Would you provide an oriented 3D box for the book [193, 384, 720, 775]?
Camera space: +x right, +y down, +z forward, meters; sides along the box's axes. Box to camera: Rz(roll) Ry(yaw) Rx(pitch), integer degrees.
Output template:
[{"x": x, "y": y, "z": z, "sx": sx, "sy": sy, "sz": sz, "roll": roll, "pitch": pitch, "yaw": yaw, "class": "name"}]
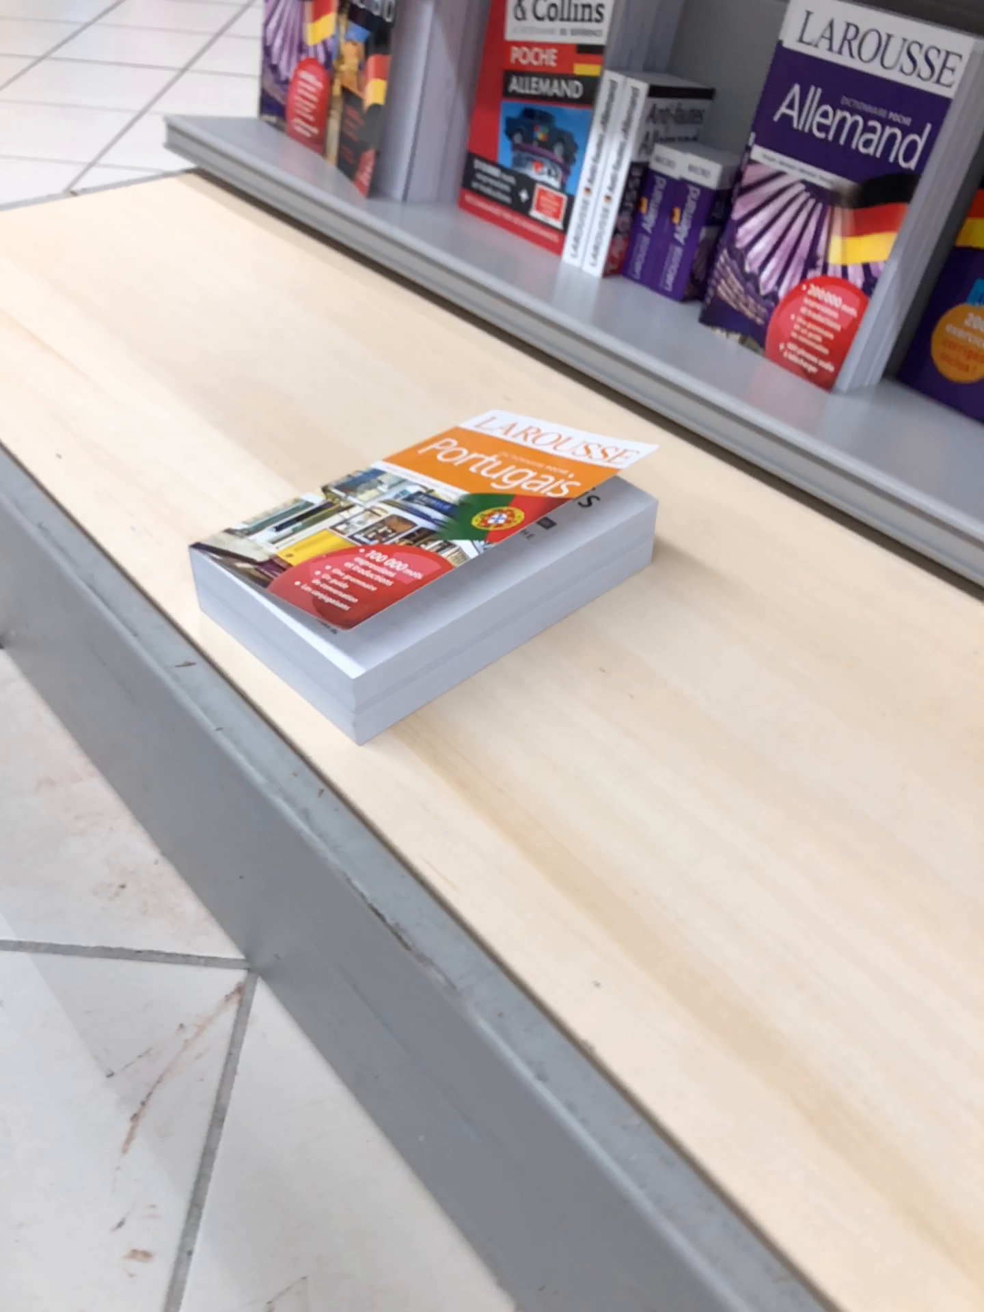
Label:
[{"x": -0.010, "y": -0.044, "z": 0.460, "sx": 0.118, "sy": 0.046, "sz": 0.186, "roll": 36, "pitch": 50, "yaw": 30, "class": "book"}]
